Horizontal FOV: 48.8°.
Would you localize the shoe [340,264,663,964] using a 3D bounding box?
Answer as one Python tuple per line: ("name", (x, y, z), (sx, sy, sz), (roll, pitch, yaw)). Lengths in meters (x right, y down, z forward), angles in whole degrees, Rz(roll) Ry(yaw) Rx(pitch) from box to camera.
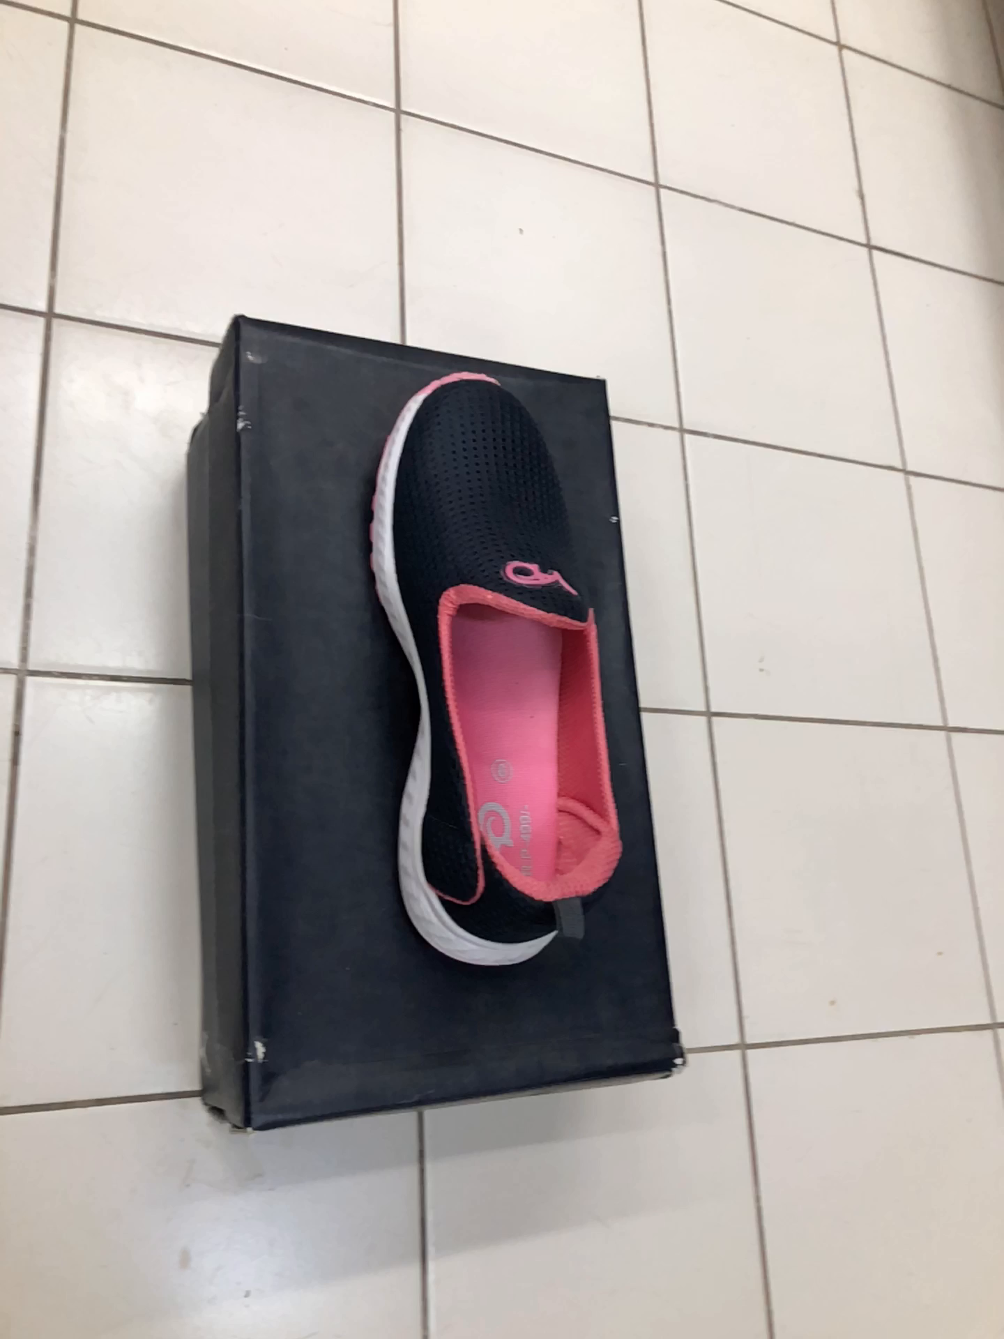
("shoe", (-0.009, -0.018, 0.473), (0.090, 0.099, 0.270), (4, 73, -24))
